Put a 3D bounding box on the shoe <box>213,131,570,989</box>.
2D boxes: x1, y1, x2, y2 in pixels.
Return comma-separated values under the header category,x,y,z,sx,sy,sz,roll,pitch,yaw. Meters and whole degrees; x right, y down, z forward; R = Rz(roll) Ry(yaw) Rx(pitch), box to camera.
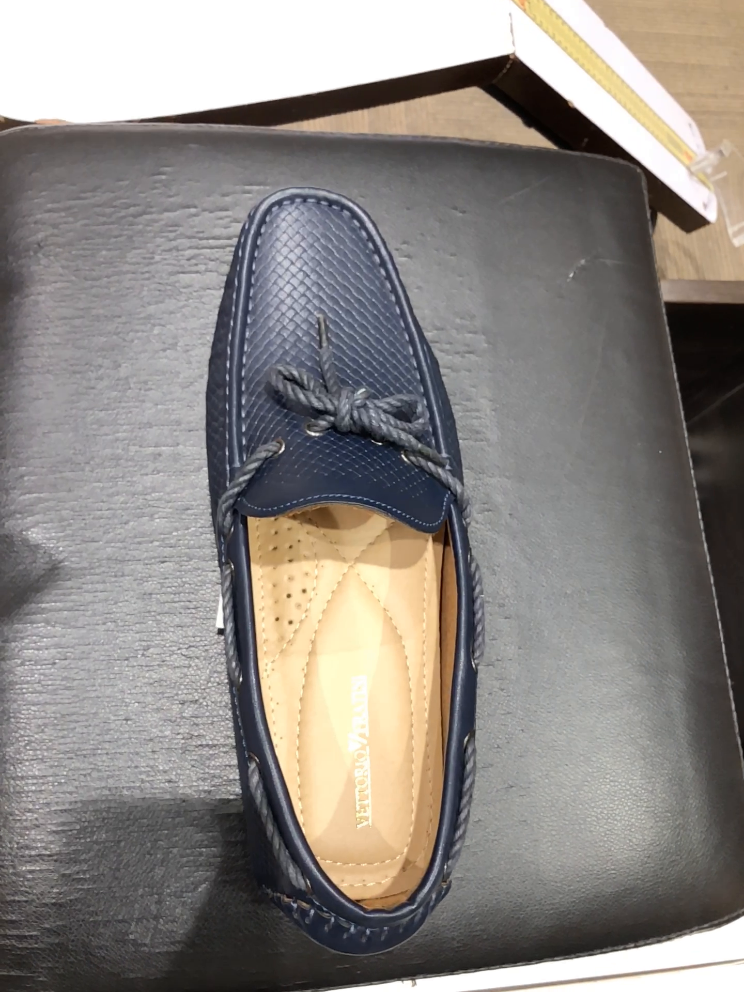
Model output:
category,x,y,z,sx,sy,sz,roll,pitch,yaw
shoe,-0.005,0.011,0.302,0.100,0.080,0.270,-1,75,-8
